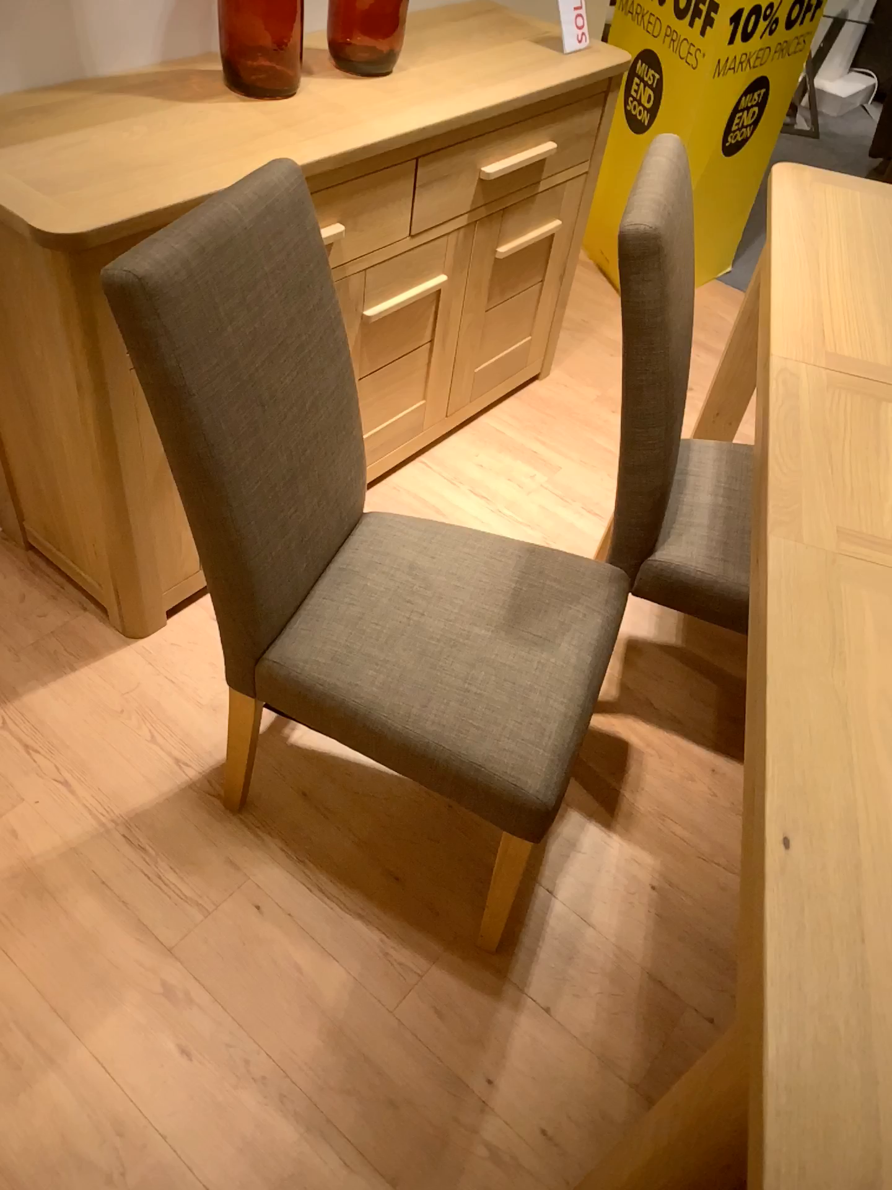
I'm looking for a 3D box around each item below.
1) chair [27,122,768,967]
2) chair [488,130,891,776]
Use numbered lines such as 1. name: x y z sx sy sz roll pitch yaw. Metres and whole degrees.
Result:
1. chair: -0.054 -0.027 1.234 0.604 0.884 0.511 20 46 10
2. chair: 0.429 -0.202 1.443 0.504 0.765 0.501 17 46 6
